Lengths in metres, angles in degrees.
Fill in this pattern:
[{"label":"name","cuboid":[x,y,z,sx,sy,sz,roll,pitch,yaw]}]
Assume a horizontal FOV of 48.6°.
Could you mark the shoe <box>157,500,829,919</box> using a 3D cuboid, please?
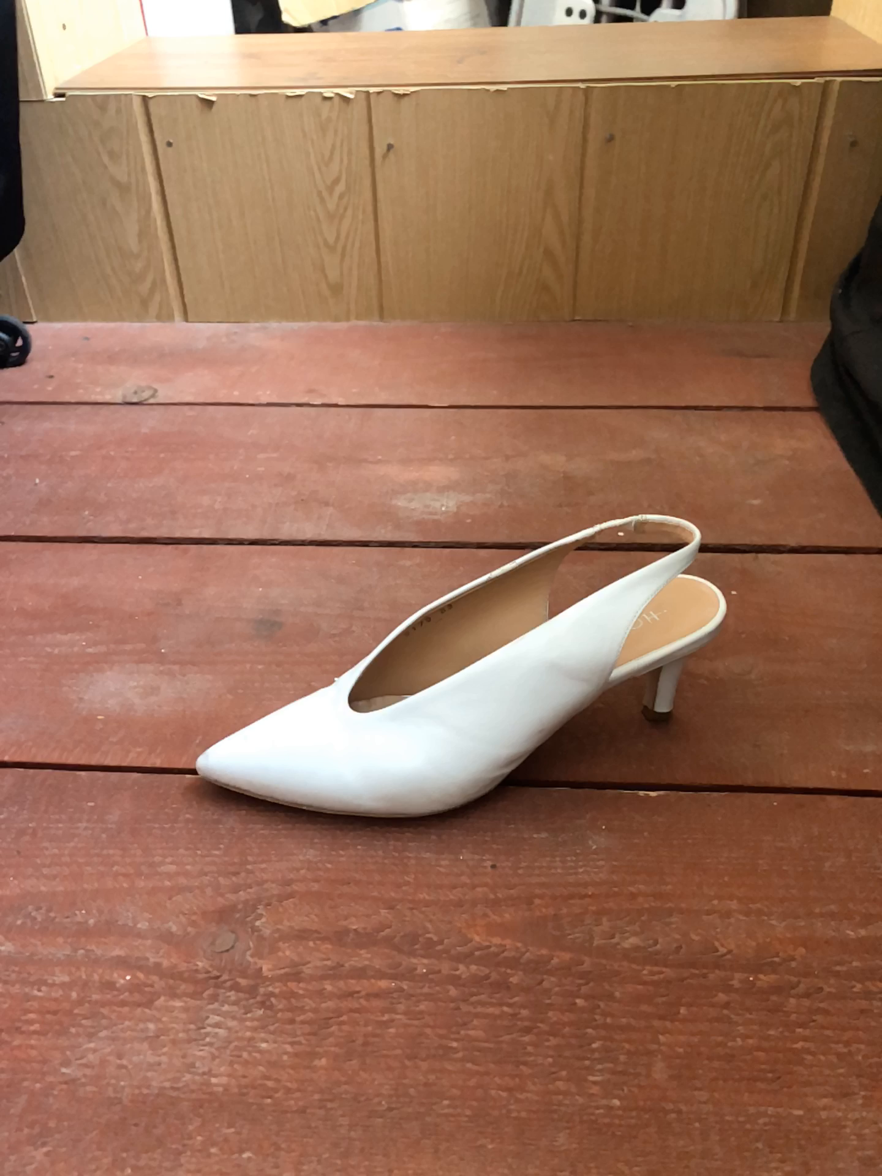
[{"label":"shoe","cuboid":[0.015,0.041,0.400,0.240,0.080,0.100,-10,36,-10]}]
